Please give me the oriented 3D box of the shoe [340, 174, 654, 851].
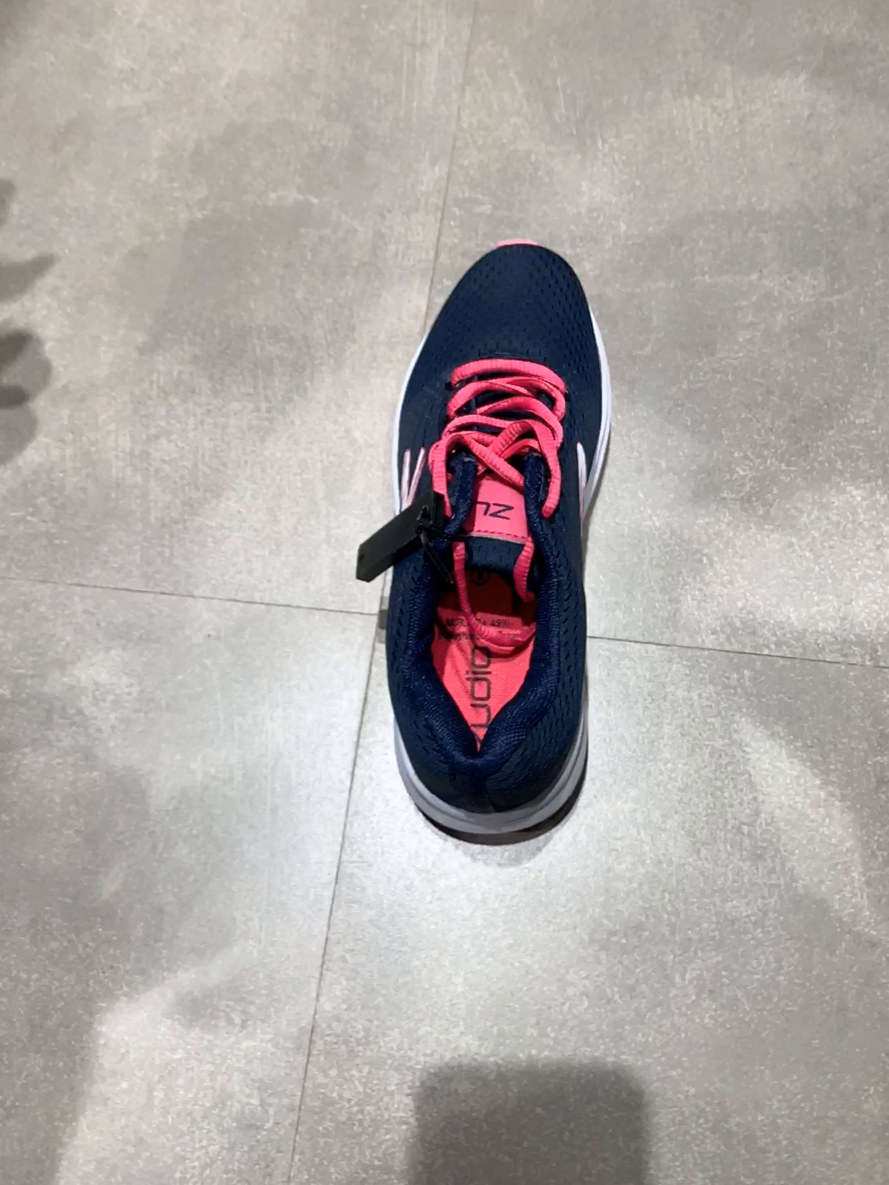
[{"bbox_3d":[0.025,-0.033,0.360,0.094,0.090,0.248,2,70,4],"label":"shoe"}]
